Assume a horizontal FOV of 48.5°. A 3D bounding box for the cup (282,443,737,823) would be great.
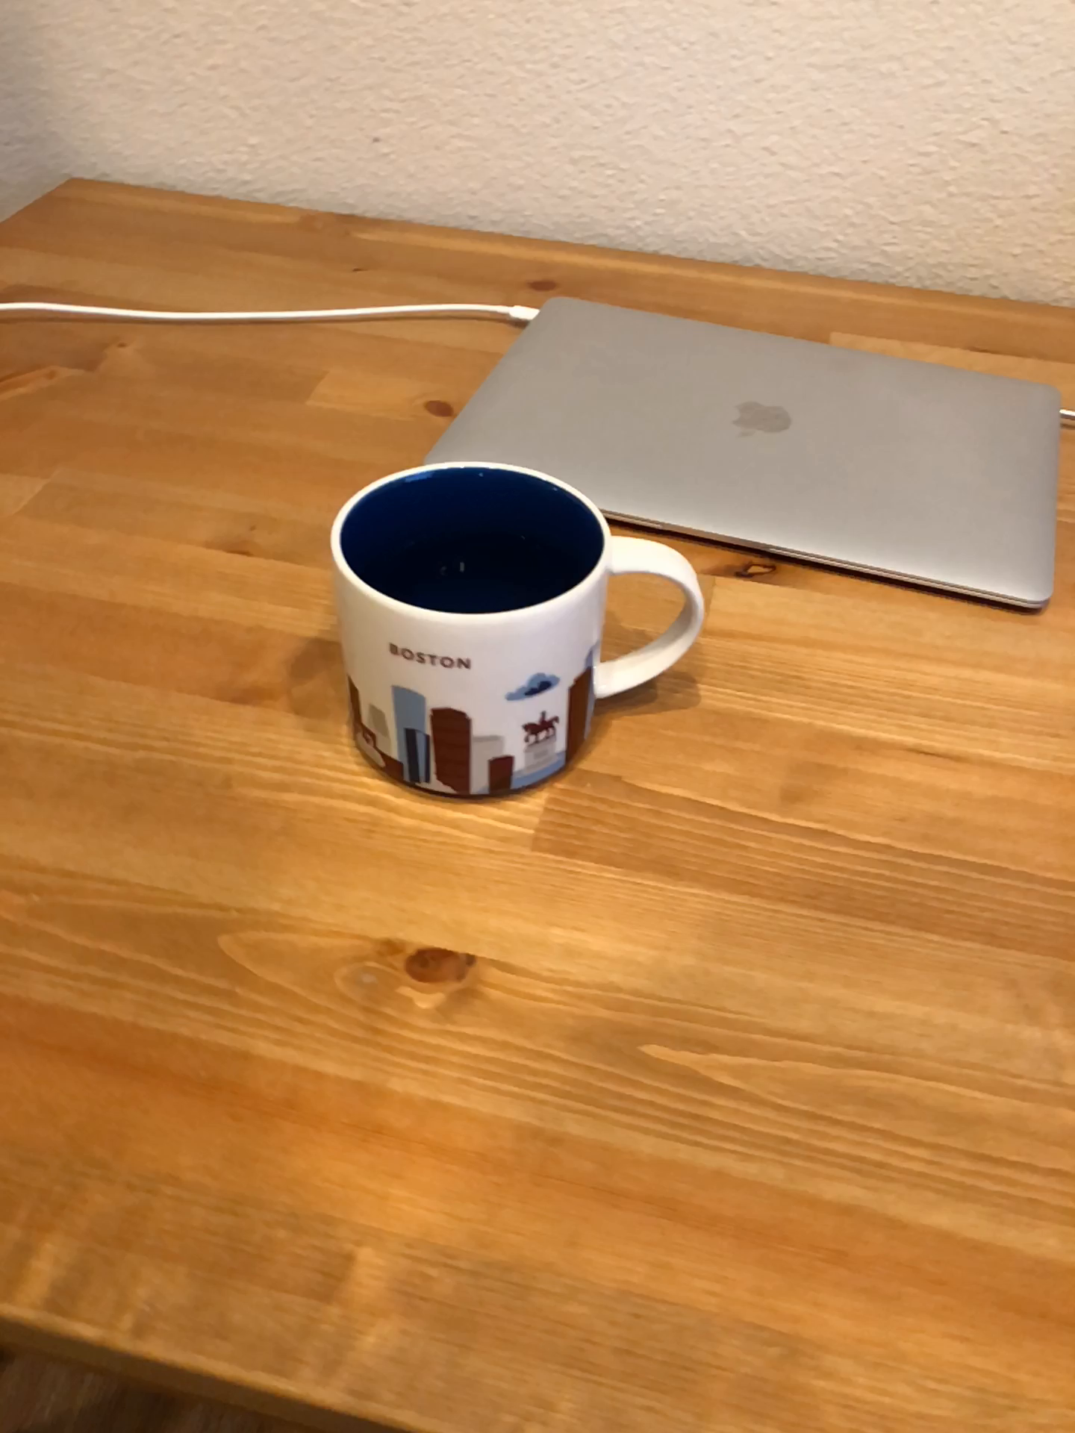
[{"bbox_3d":[-0.009,-0.031,0.434,0.140,0.090,0.100,2,42,-1],"label":"cup"}]
